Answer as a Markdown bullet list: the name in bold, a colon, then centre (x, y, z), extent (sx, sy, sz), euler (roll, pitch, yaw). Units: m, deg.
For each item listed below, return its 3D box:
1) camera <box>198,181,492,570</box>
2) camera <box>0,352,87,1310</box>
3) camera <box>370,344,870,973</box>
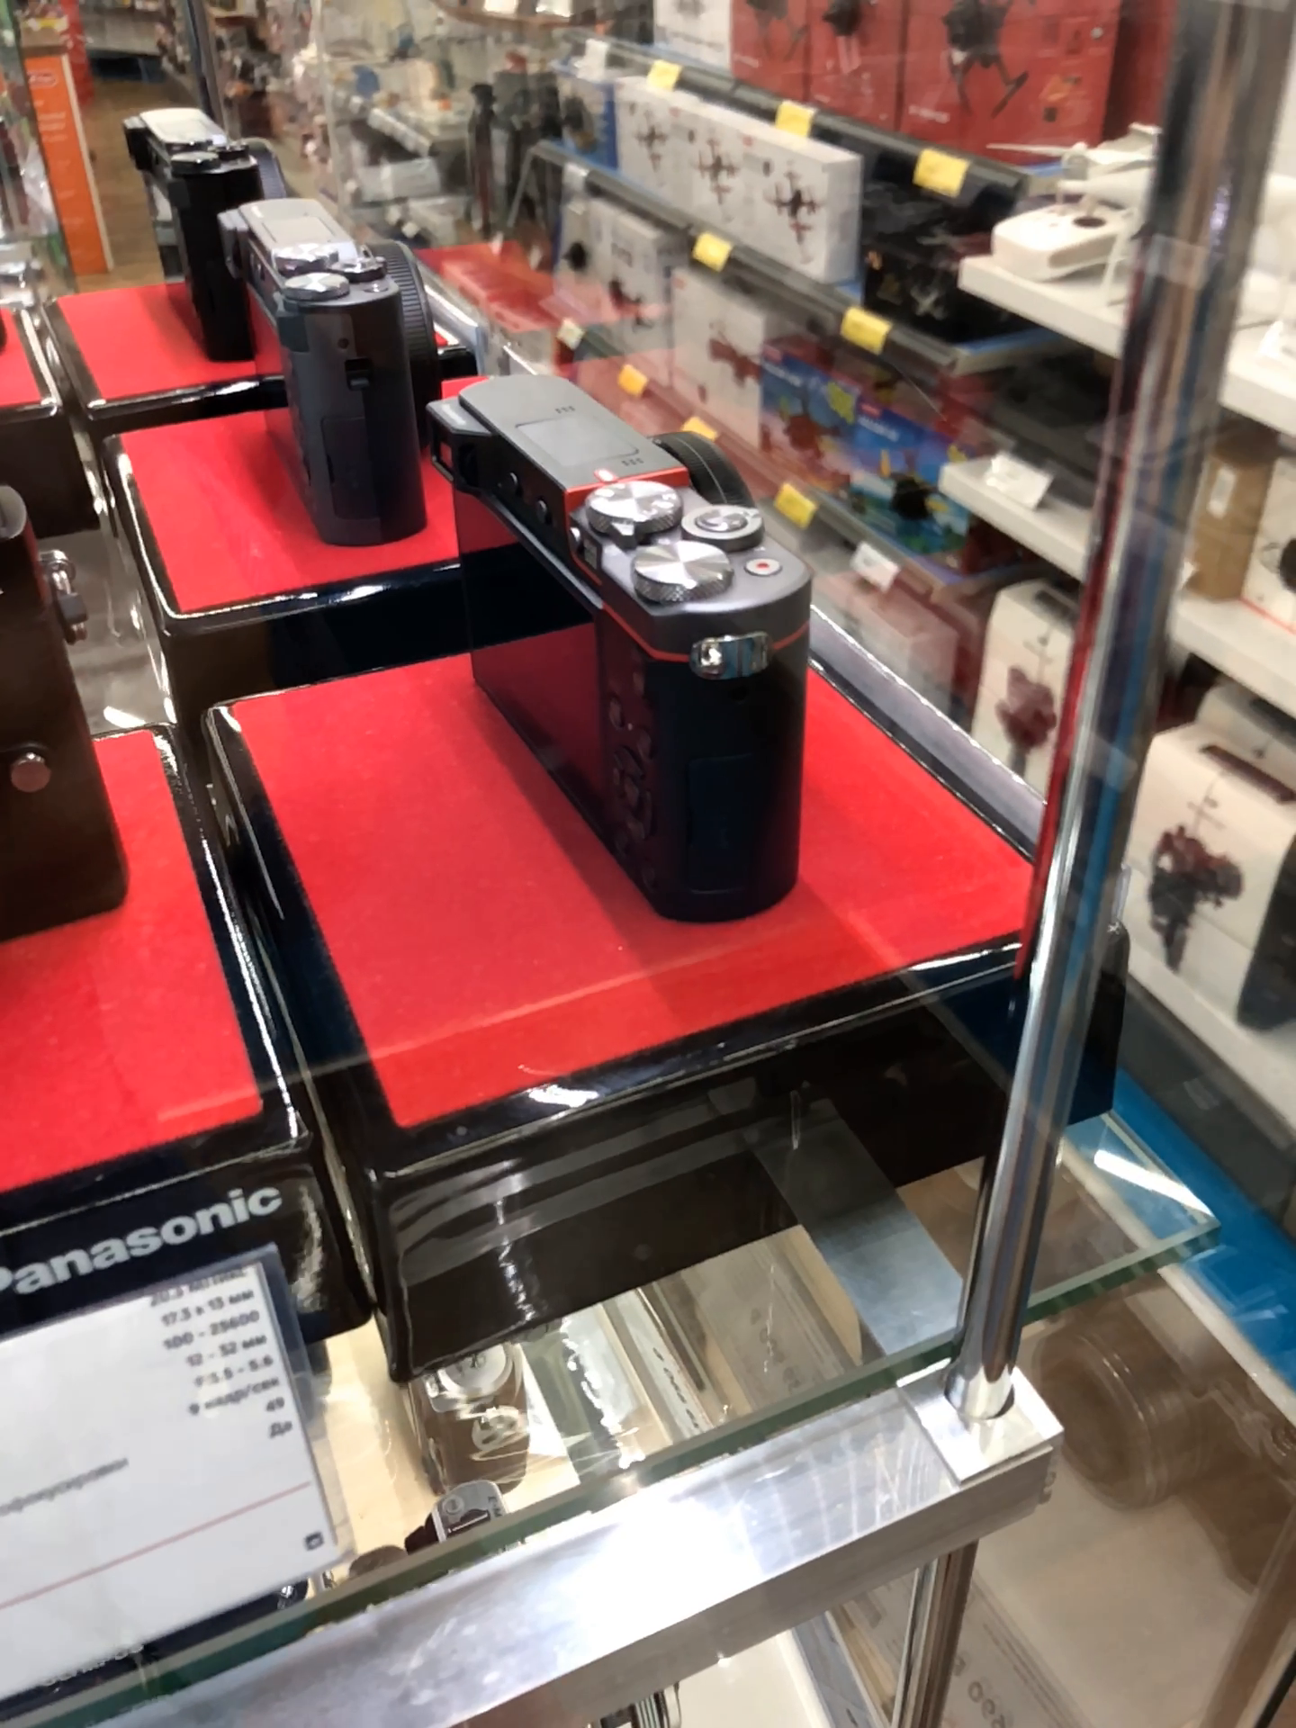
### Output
- **camera**: centre (-0.087, -0.142, 0.405), extent (0.051, 0.070, 0.113), euler (-13, 38, -16)
- **camera**: centre (-0.162, -0.010, 0.220), extent (0.113, 0.101, 0.069), euler (-16, 38, -20)
- **camera**: centre (-0.010, -0.046, 0.276), extent (0.050, 0.070, 0.113), euler (-15, 38, -18)
